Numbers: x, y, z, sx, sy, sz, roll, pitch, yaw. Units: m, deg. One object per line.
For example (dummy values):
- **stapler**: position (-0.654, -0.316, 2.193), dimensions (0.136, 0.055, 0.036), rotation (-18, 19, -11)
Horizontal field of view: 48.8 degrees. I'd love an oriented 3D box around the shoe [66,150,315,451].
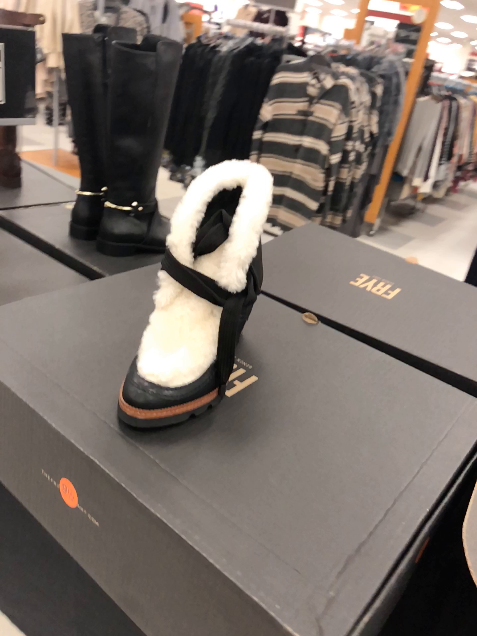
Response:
- **shoe**: position (-0.038, -0.039, 0.516), dimensions (0.101, 0.207, 0.248), rotation (21, 28, 20)
